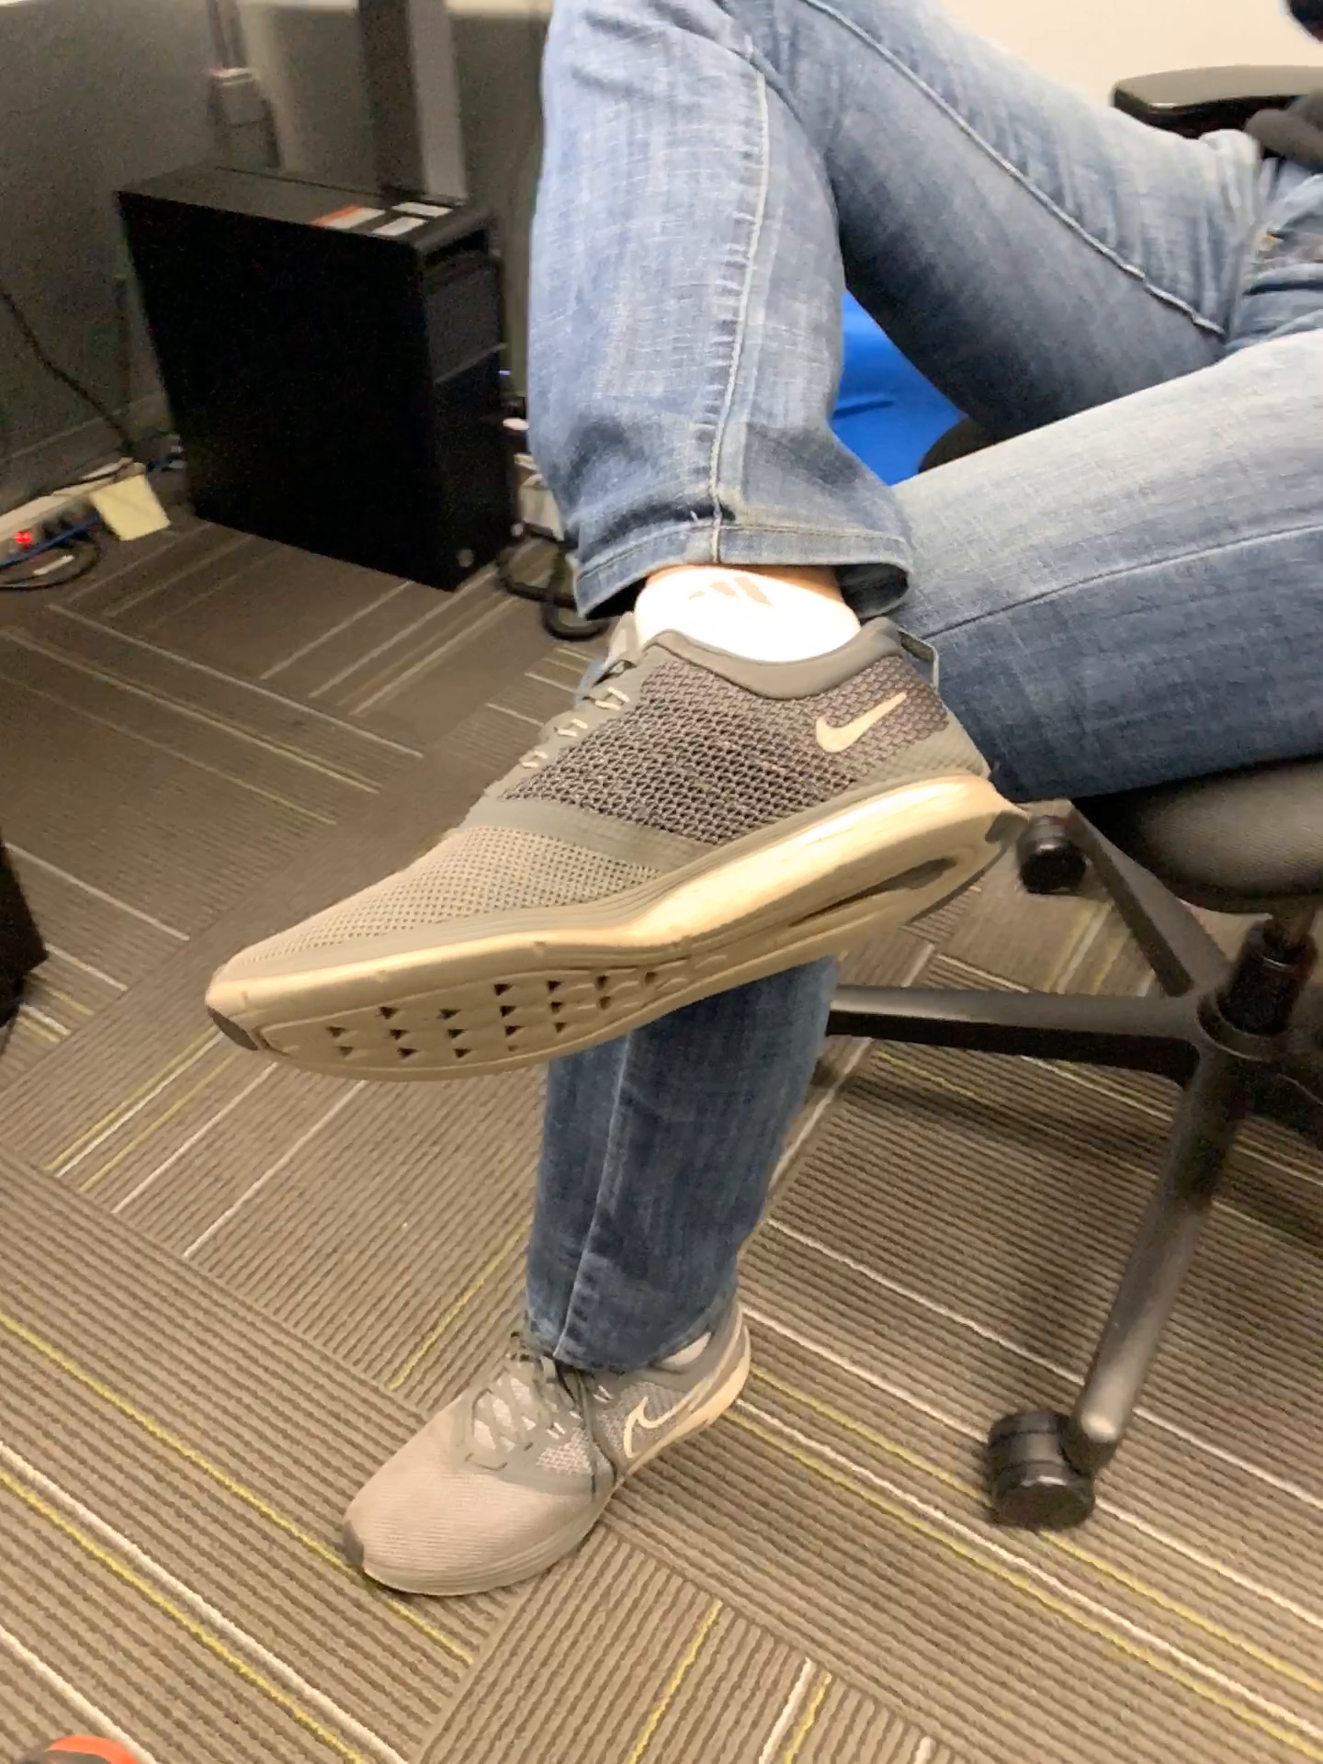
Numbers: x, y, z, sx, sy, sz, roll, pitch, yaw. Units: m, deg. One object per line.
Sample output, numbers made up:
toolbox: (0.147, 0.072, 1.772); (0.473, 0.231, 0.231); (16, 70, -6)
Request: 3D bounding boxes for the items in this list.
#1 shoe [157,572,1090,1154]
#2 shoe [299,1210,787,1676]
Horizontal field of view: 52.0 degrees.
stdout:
shoe: (-0.020, -0.014, 0.506); (0.295, 0.120, 0.134); (-8, 46, -12)
shoe: (-0.068, 0.349, 0.874); (0.288, 0.092, 0.114); (-26, 48, -27)
